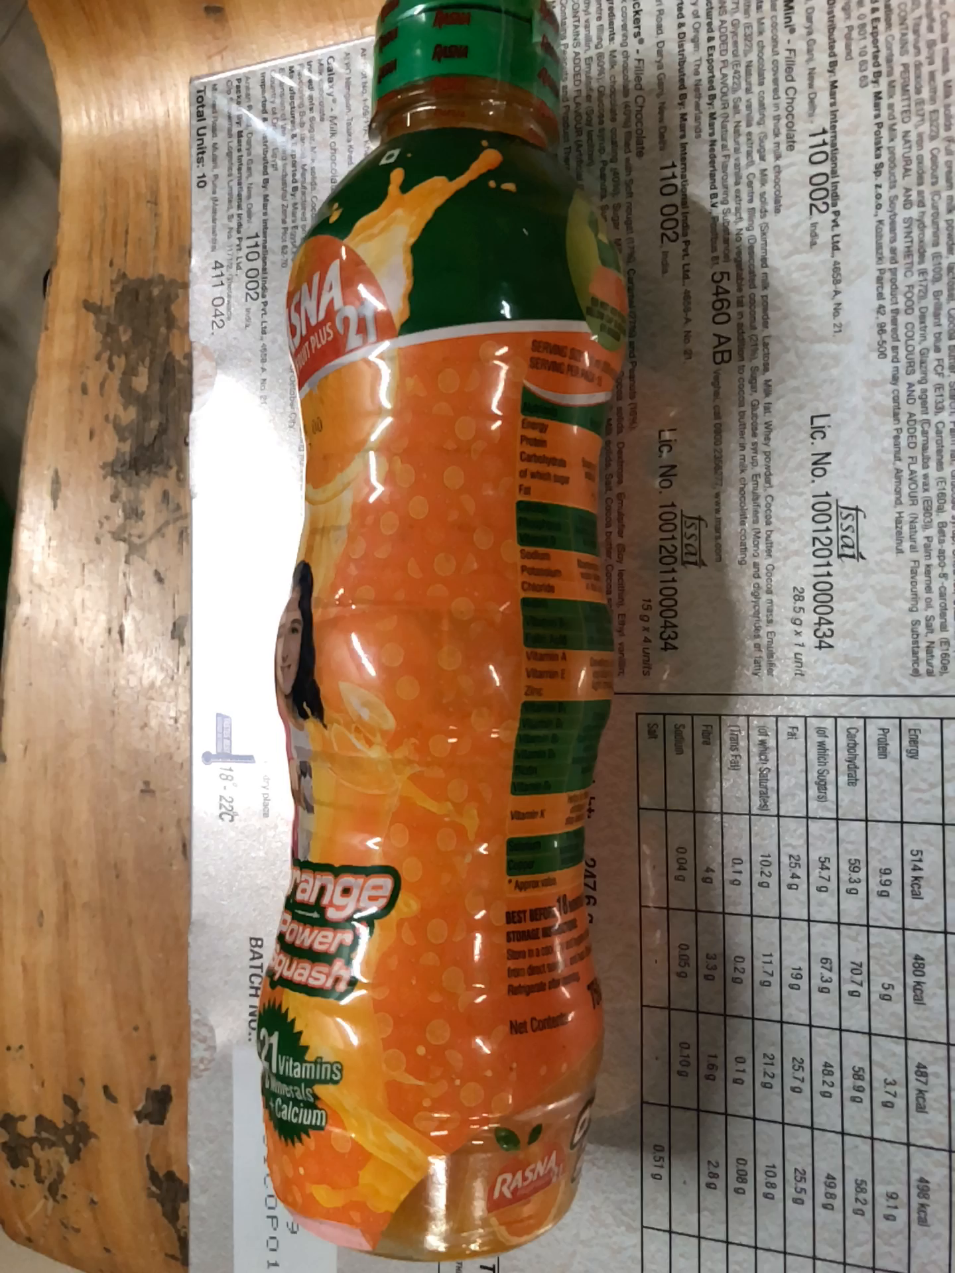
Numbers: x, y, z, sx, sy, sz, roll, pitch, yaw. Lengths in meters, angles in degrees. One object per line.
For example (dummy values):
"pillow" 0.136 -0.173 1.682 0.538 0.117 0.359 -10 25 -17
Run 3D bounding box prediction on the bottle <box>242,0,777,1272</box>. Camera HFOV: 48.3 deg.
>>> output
"bottle" 0.000 -0.011 0.216 0.080 0.070 0.250 2 91 -14
